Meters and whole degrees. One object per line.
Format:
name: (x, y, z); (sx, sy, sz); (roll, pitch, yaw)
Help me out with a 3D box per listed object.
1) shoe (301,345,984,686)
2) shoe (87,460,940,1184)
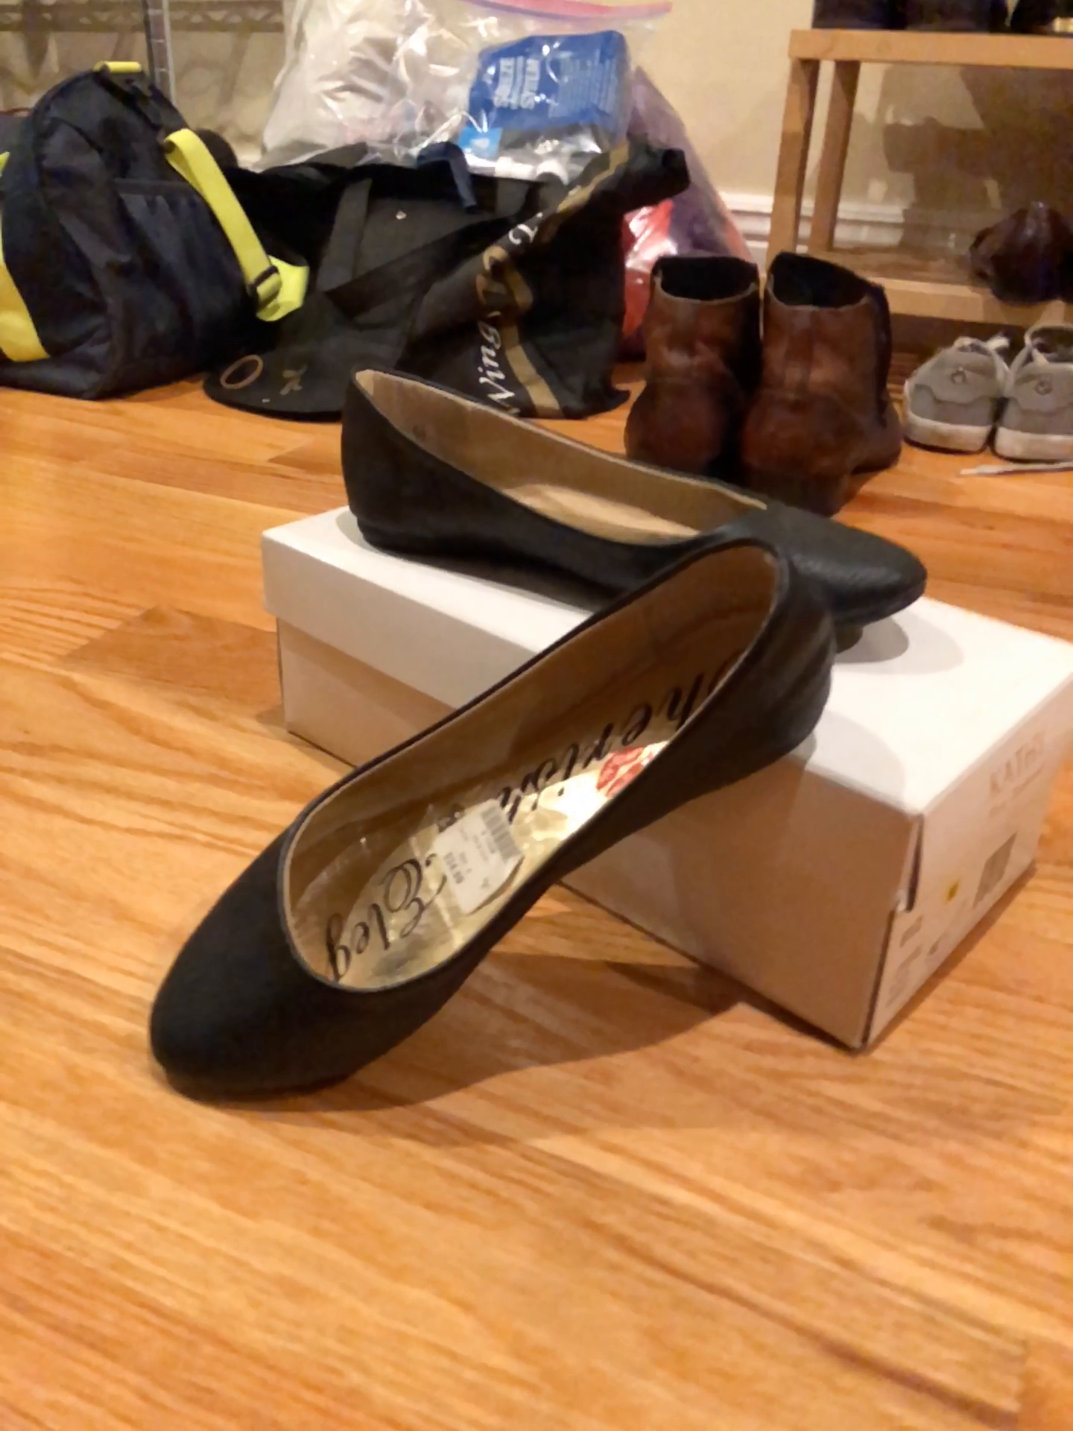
shoe: (0.030, -0.085, 0.440); (0.240, 0.060, 0.076); (19, 33, 27)
shoe: (-0.013, 0.035, 0.344); (0.239, 0.060, 0.076); (-34, 48, 7)
